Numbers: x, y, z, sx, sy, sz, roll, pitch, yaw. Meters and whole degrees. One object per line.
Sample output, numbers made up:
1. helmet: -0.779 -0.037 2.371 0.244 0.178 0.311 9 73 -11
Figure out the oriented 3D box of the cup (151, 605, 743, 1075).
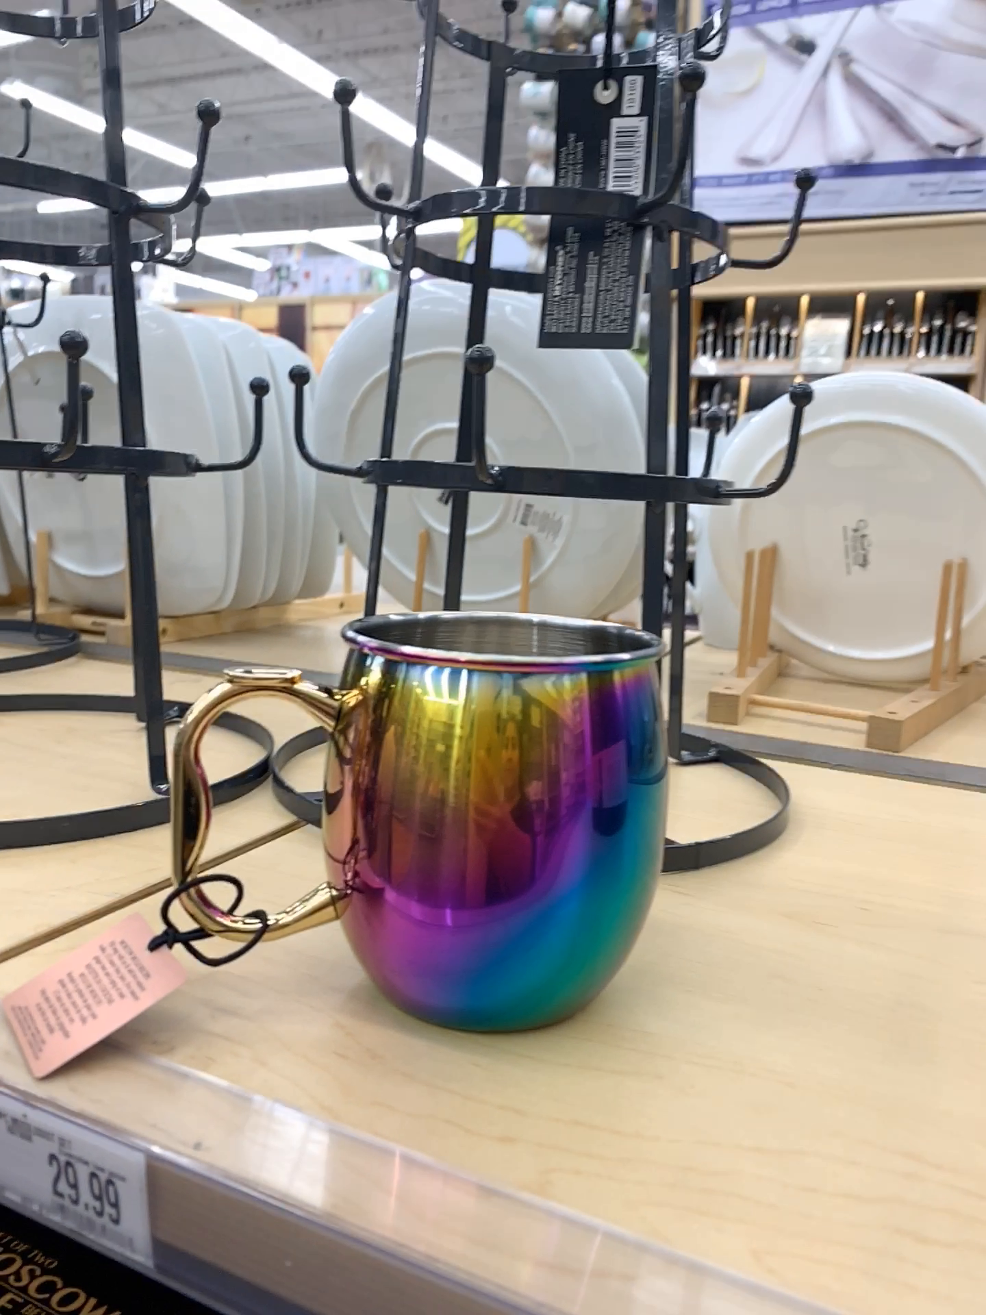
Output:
1. cup: -0.017 0.037 0.267 0.130 0.089 0.085 -1 11 -15
